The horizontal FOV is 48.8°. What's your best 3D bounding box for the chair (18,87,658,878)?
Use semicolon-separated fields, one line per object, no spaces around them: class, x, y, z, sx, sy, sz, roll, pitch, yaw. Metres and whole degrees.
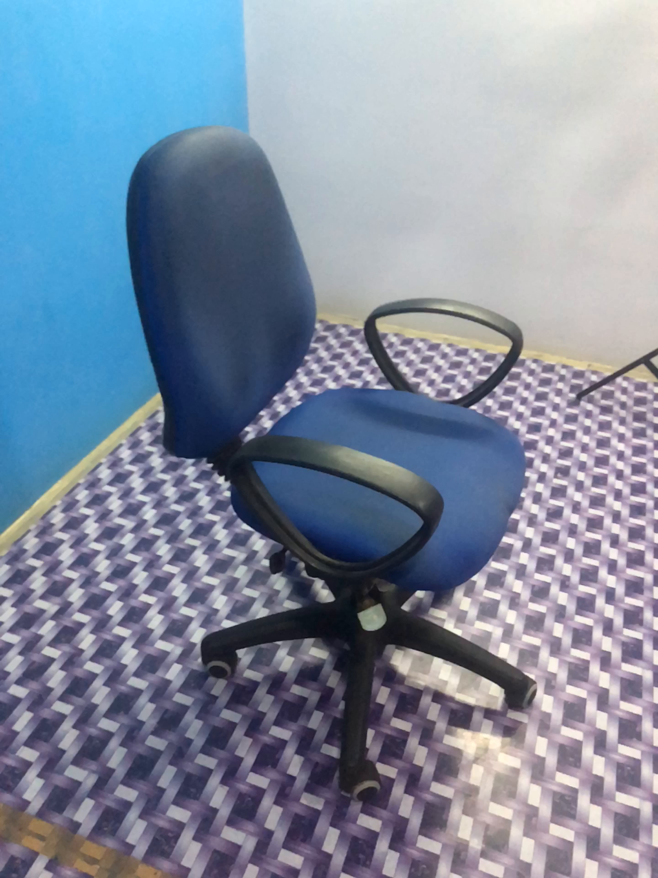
chair;0.120;0.000;1.141;0.669;0.875;0.704;12;35;16
